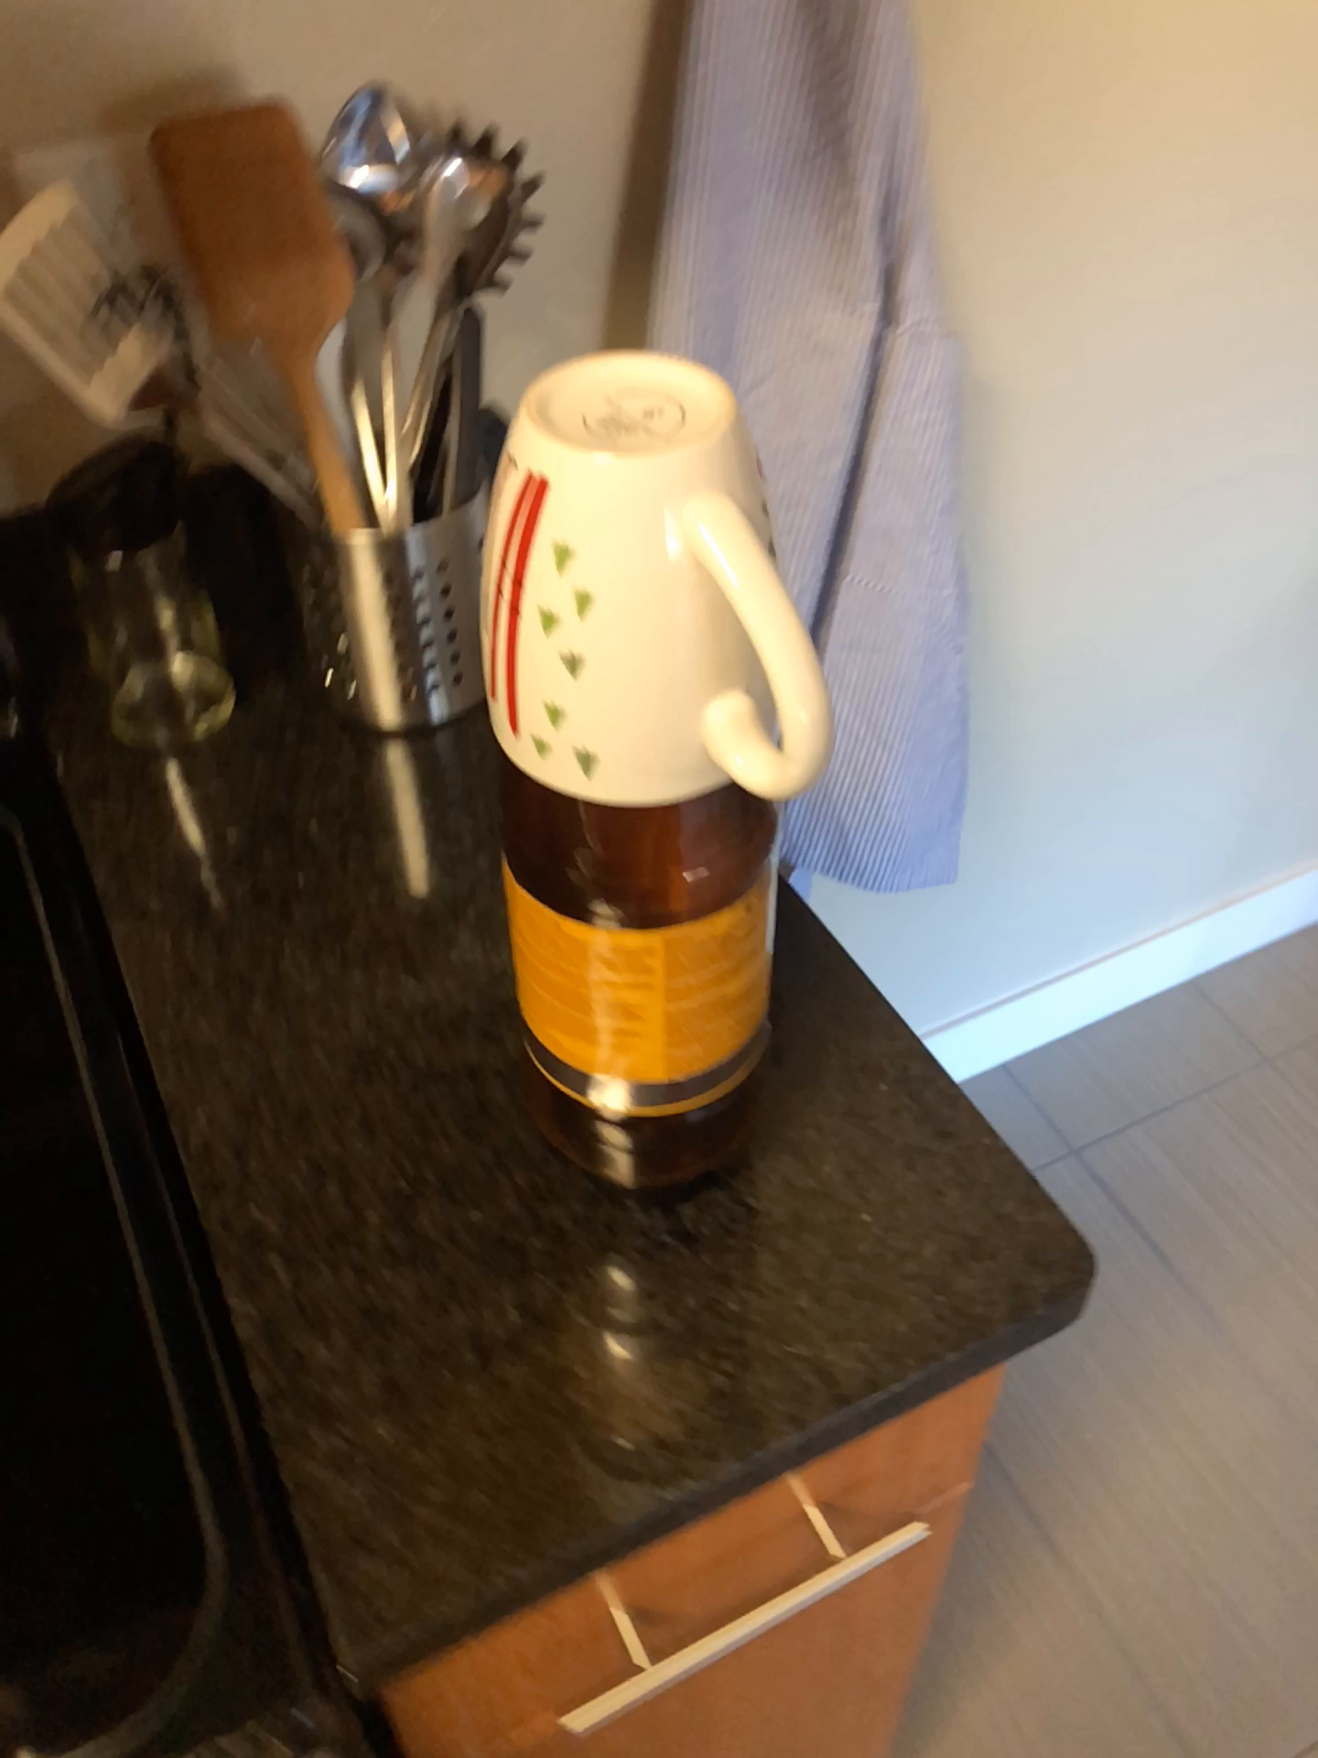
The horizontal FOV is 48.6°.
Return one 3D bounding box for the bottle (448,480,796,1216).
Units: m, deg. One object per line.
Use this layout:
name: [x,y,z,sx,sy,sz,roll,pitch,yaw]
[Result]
bottle: [-0.006,0.002,0.551,0.100,0.279,0.100,0,43,0]
